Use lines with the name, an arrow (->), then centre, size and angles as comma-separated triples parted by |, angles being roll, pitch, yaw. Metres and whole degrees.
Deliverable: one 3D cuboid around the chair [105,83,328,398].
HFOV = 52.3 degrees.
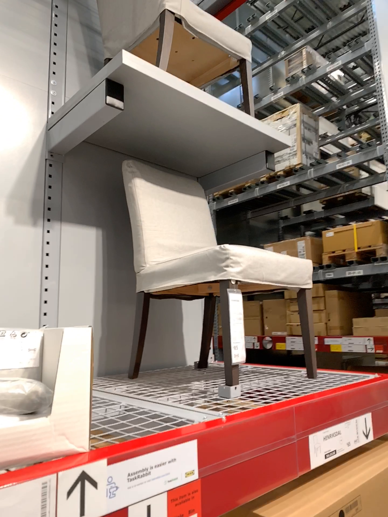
chair -> 0.066, -0.017, 1.632 | 0.669, 0.982, 0.560 | -11, -14, 43
